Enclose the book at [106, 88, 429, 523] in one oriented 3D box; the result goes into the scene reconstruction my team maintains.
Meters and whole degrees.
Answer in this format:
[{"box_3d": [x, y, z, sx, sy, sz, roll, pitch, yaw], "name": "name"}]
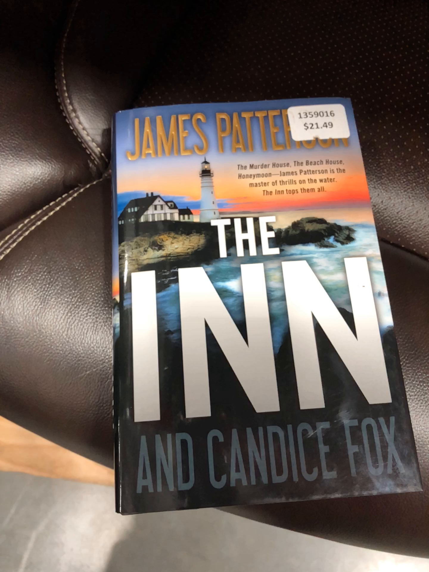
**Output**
[{"box_3d": [0.022, 0.000, 0.299, 0.170, 0.040, 0.250, -4, 73, -1], "name": "book"}]
